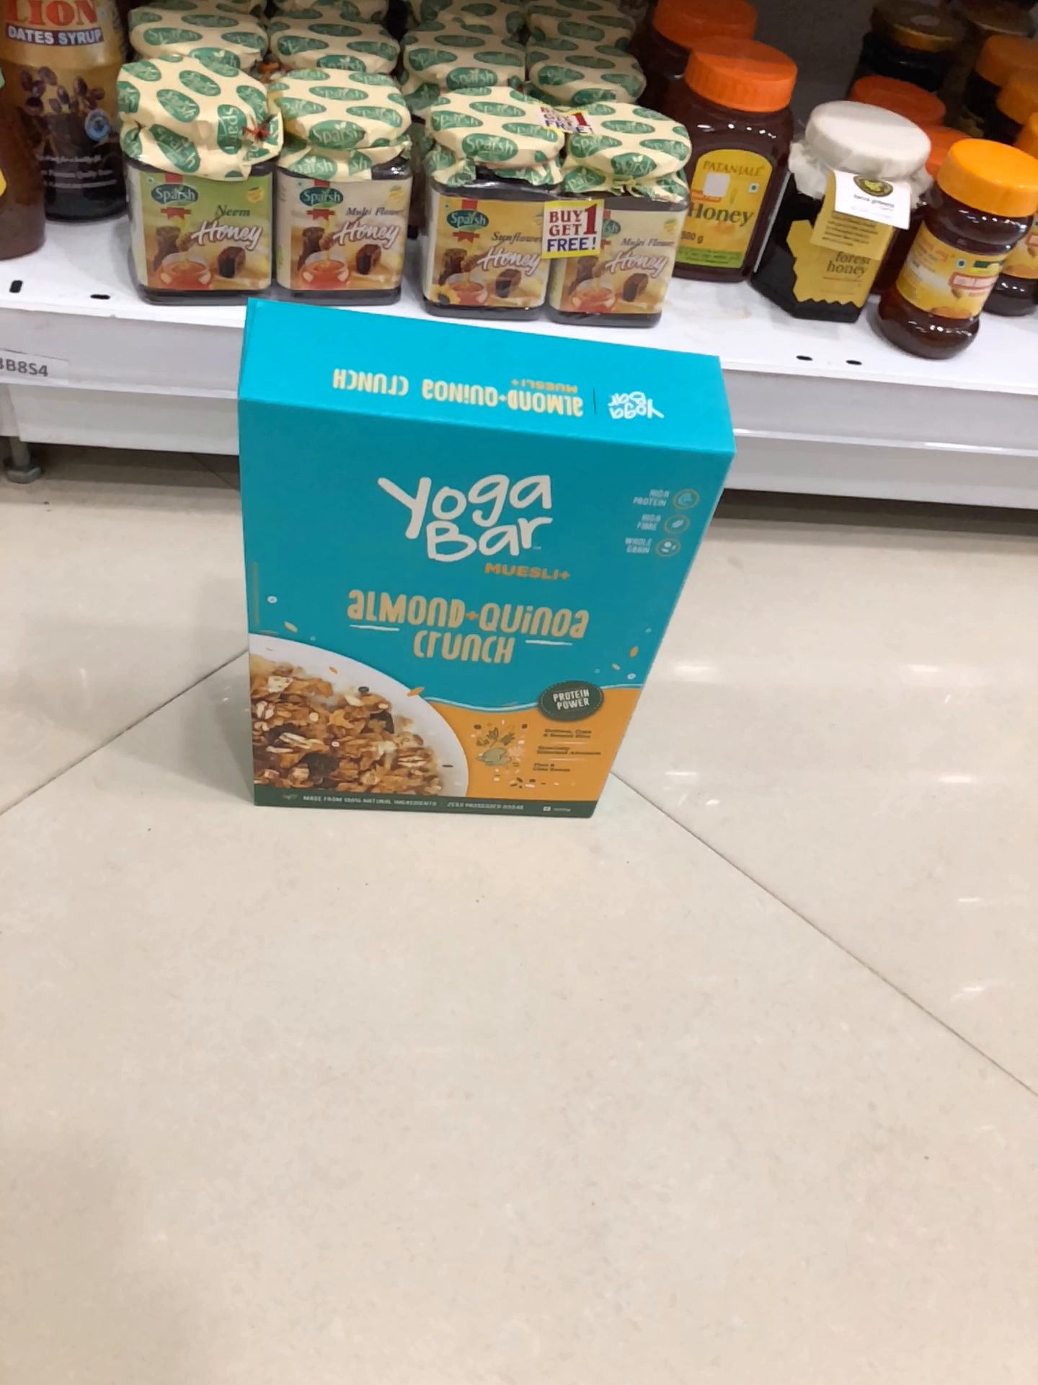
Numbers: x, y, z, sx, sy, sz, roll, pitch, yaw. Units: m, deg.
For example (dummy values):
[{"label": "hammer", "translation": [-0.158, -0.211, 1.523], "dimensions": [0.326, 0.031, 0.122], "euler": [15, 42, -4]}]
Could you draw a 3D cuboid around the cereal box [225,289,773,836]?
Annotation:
[{"label": "cereal box", "translation": [-0.023, -0.032, 0.457], "dimensions": [0.170, 0.229, 0.060], "euler": [3, 50, -9]}]
